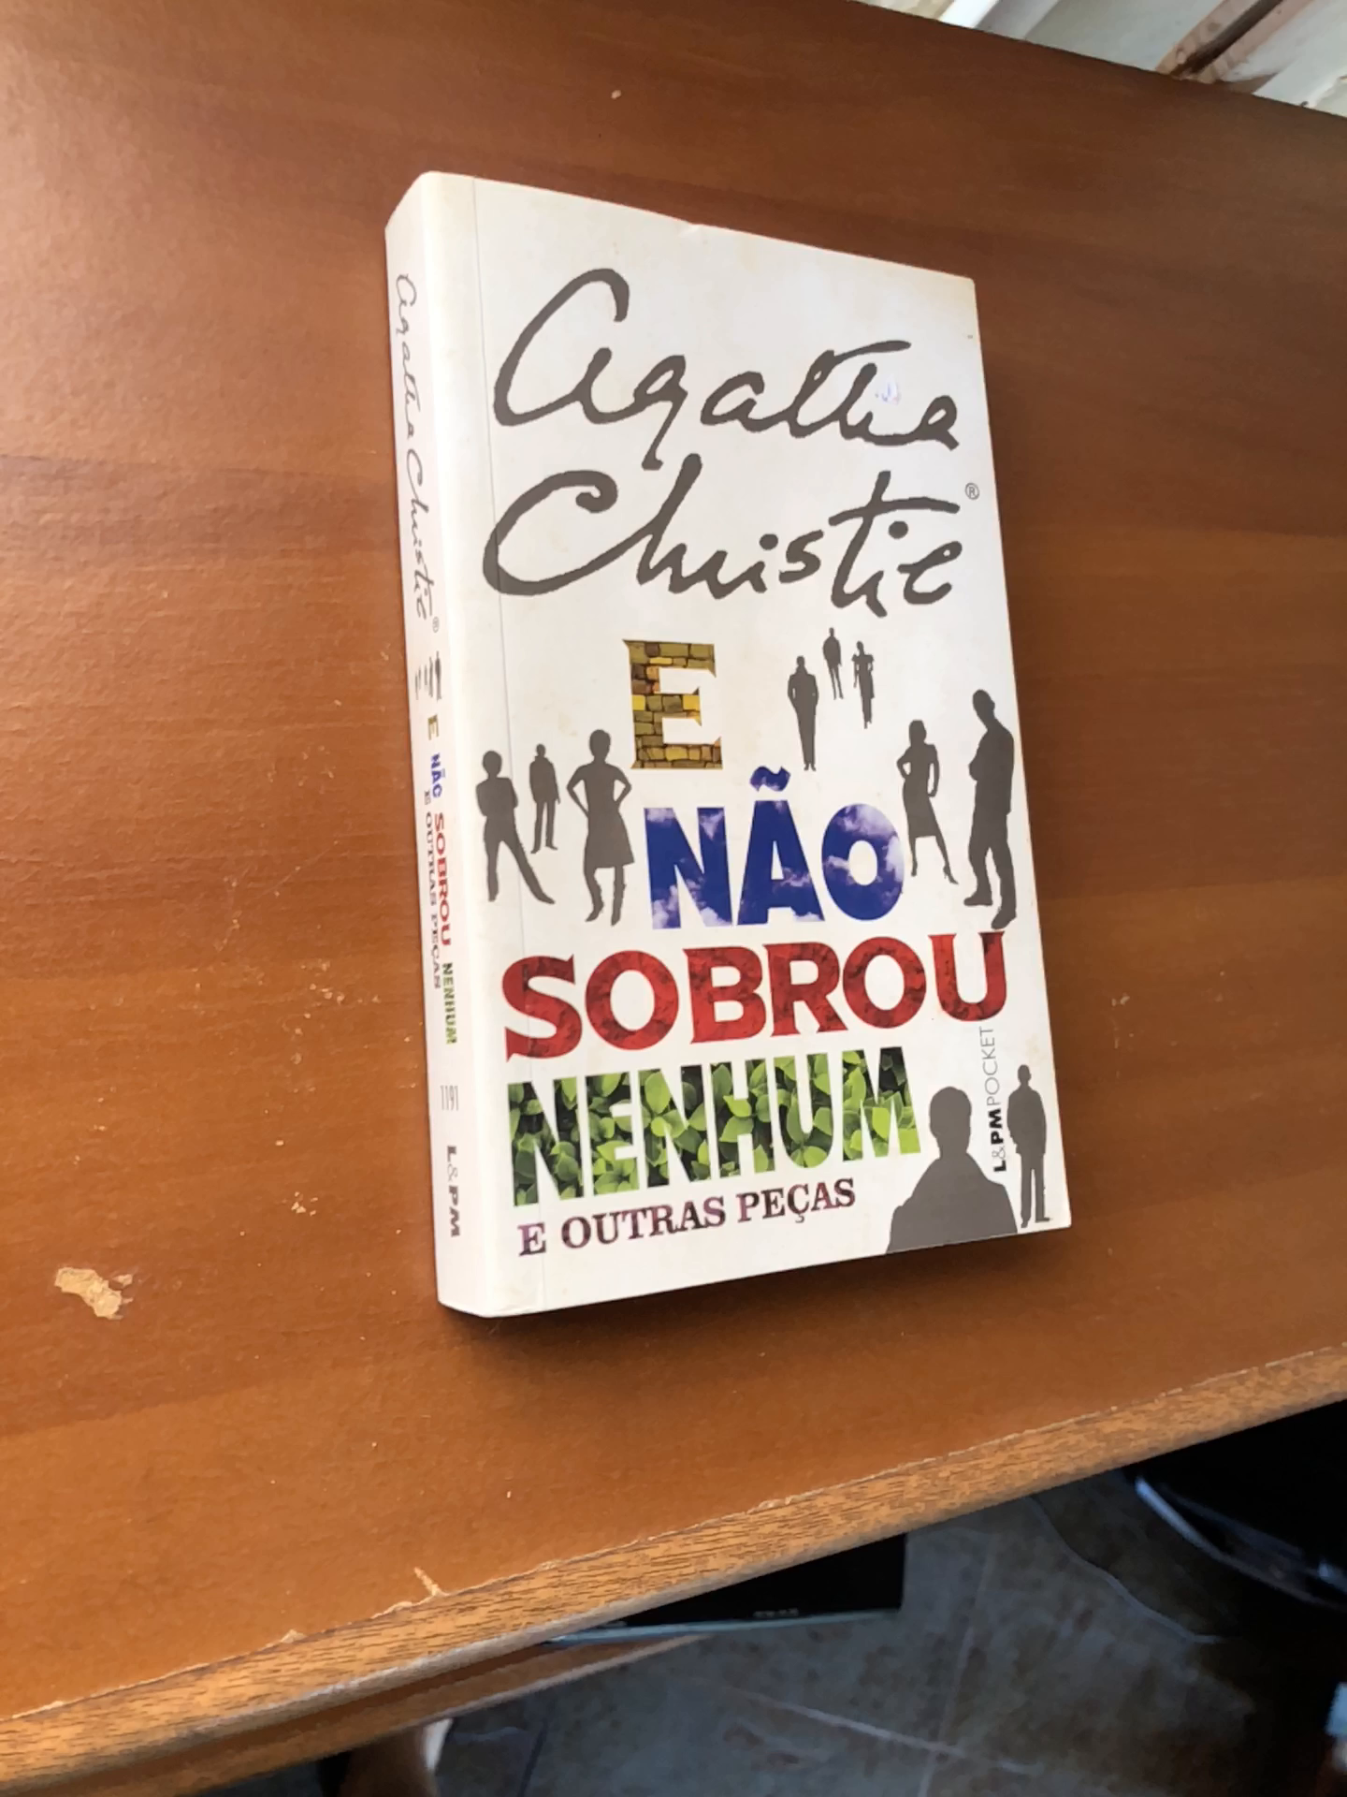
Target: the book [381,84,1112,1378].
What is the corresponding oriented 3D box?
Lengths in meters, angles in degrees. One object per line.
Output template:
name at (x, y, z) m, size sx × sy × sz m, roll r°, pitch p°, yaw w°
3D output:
book at (0.013, -0.027, 0.246) m, size 0.110 × 0.024 × 0.186 m, roll -1°, pitch 85°, yaw -25°
